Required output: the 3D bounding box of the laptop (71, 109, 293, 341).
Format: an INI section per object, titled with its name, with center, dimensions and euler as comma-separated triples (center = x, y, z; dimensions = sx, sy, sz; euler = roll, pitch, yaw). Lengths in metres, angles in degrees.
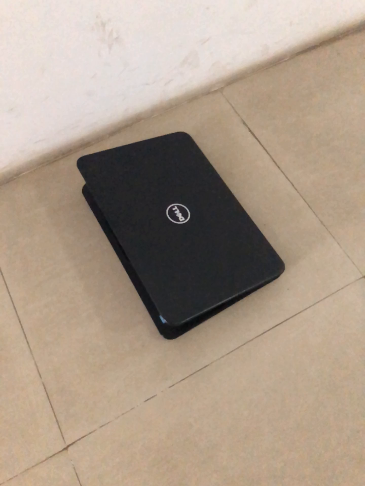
[laptop]
center = -0.012, -0.047, 0.748
dimensions = 0.248, 0.078, 0.357
euler = -29, 69, -9
